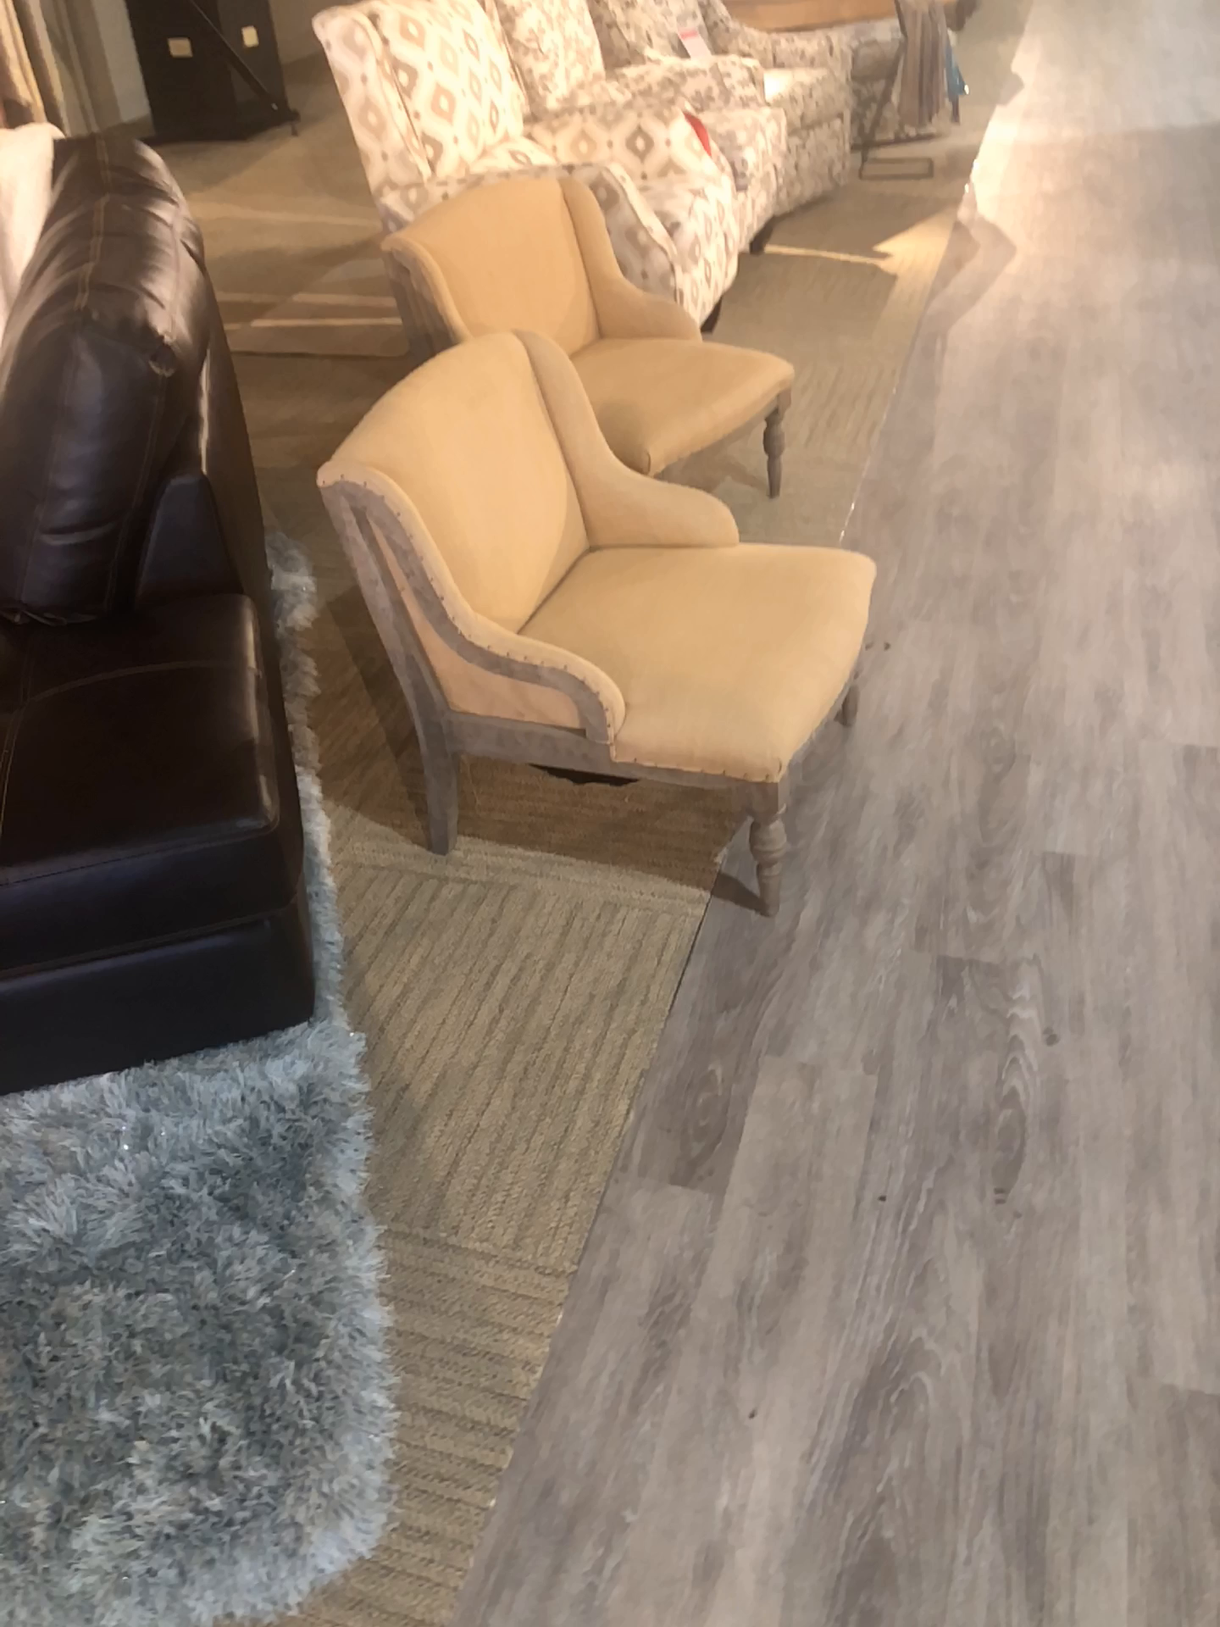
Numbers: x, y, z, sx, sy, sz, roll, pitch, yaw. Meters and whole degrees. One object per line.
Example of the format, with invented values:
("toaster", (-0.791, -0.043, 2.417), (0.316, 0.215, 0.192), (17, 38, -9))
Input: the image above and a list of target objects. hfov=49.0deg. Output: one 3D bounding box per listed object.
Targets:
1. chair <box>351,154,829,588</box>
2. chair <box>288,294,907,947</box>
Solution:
("chair", (-0.014, -0.963, 2.823), (0.719, 0.625, 0.629), (19, 42, 28))
("chair", (0.036, -0.323, 2.016), (0.669, 0.685, 0.640), (9, 39, 17))
